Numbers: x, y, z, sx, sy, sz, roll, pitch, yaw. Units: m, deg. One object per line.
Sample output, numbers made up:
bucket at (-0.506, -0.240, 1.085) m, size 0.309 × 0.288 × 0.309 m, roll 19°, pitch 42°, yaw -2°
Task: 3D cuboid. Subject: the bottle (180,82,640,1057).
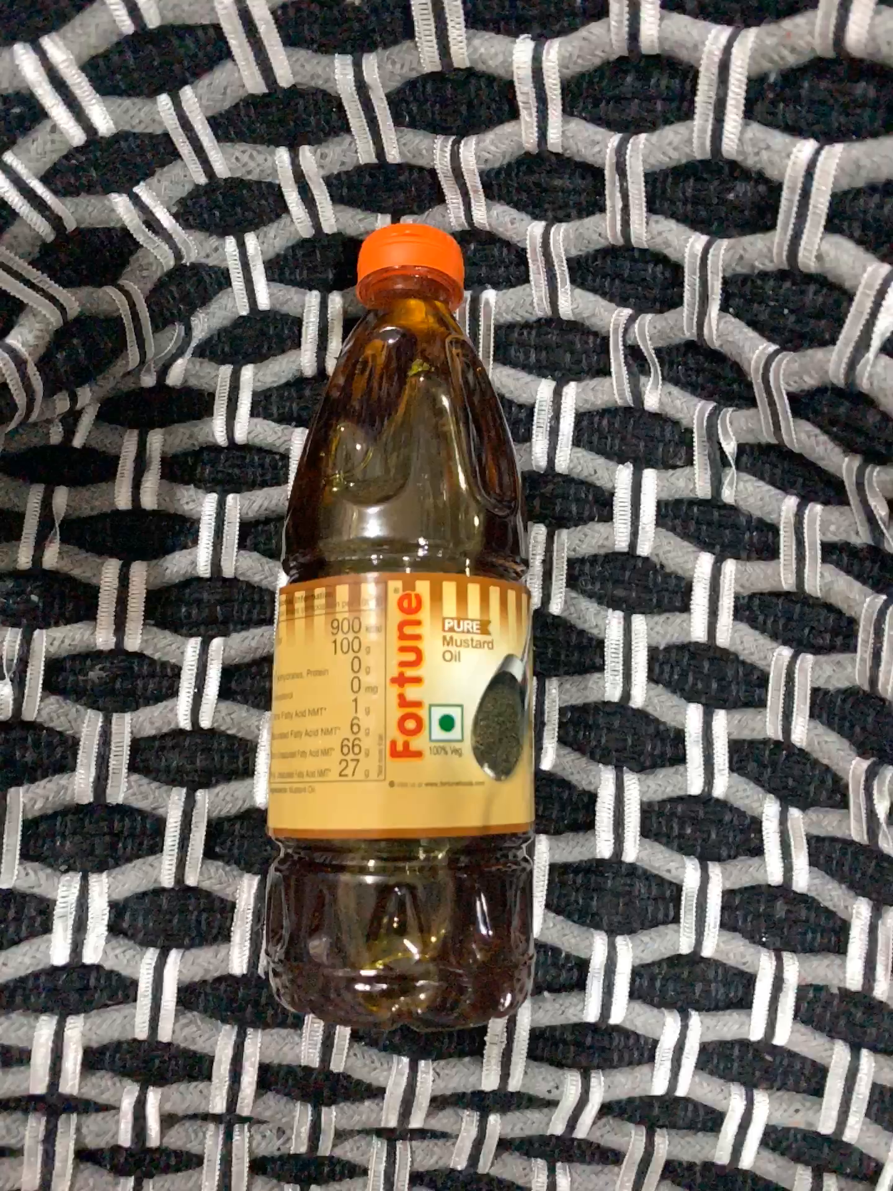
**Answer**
bottle at (-0.010, -0.006, 0.255) m, size 0.080 × 0.080 × 0.220 m, roll -14°, pitch 70°, yaw 42°
